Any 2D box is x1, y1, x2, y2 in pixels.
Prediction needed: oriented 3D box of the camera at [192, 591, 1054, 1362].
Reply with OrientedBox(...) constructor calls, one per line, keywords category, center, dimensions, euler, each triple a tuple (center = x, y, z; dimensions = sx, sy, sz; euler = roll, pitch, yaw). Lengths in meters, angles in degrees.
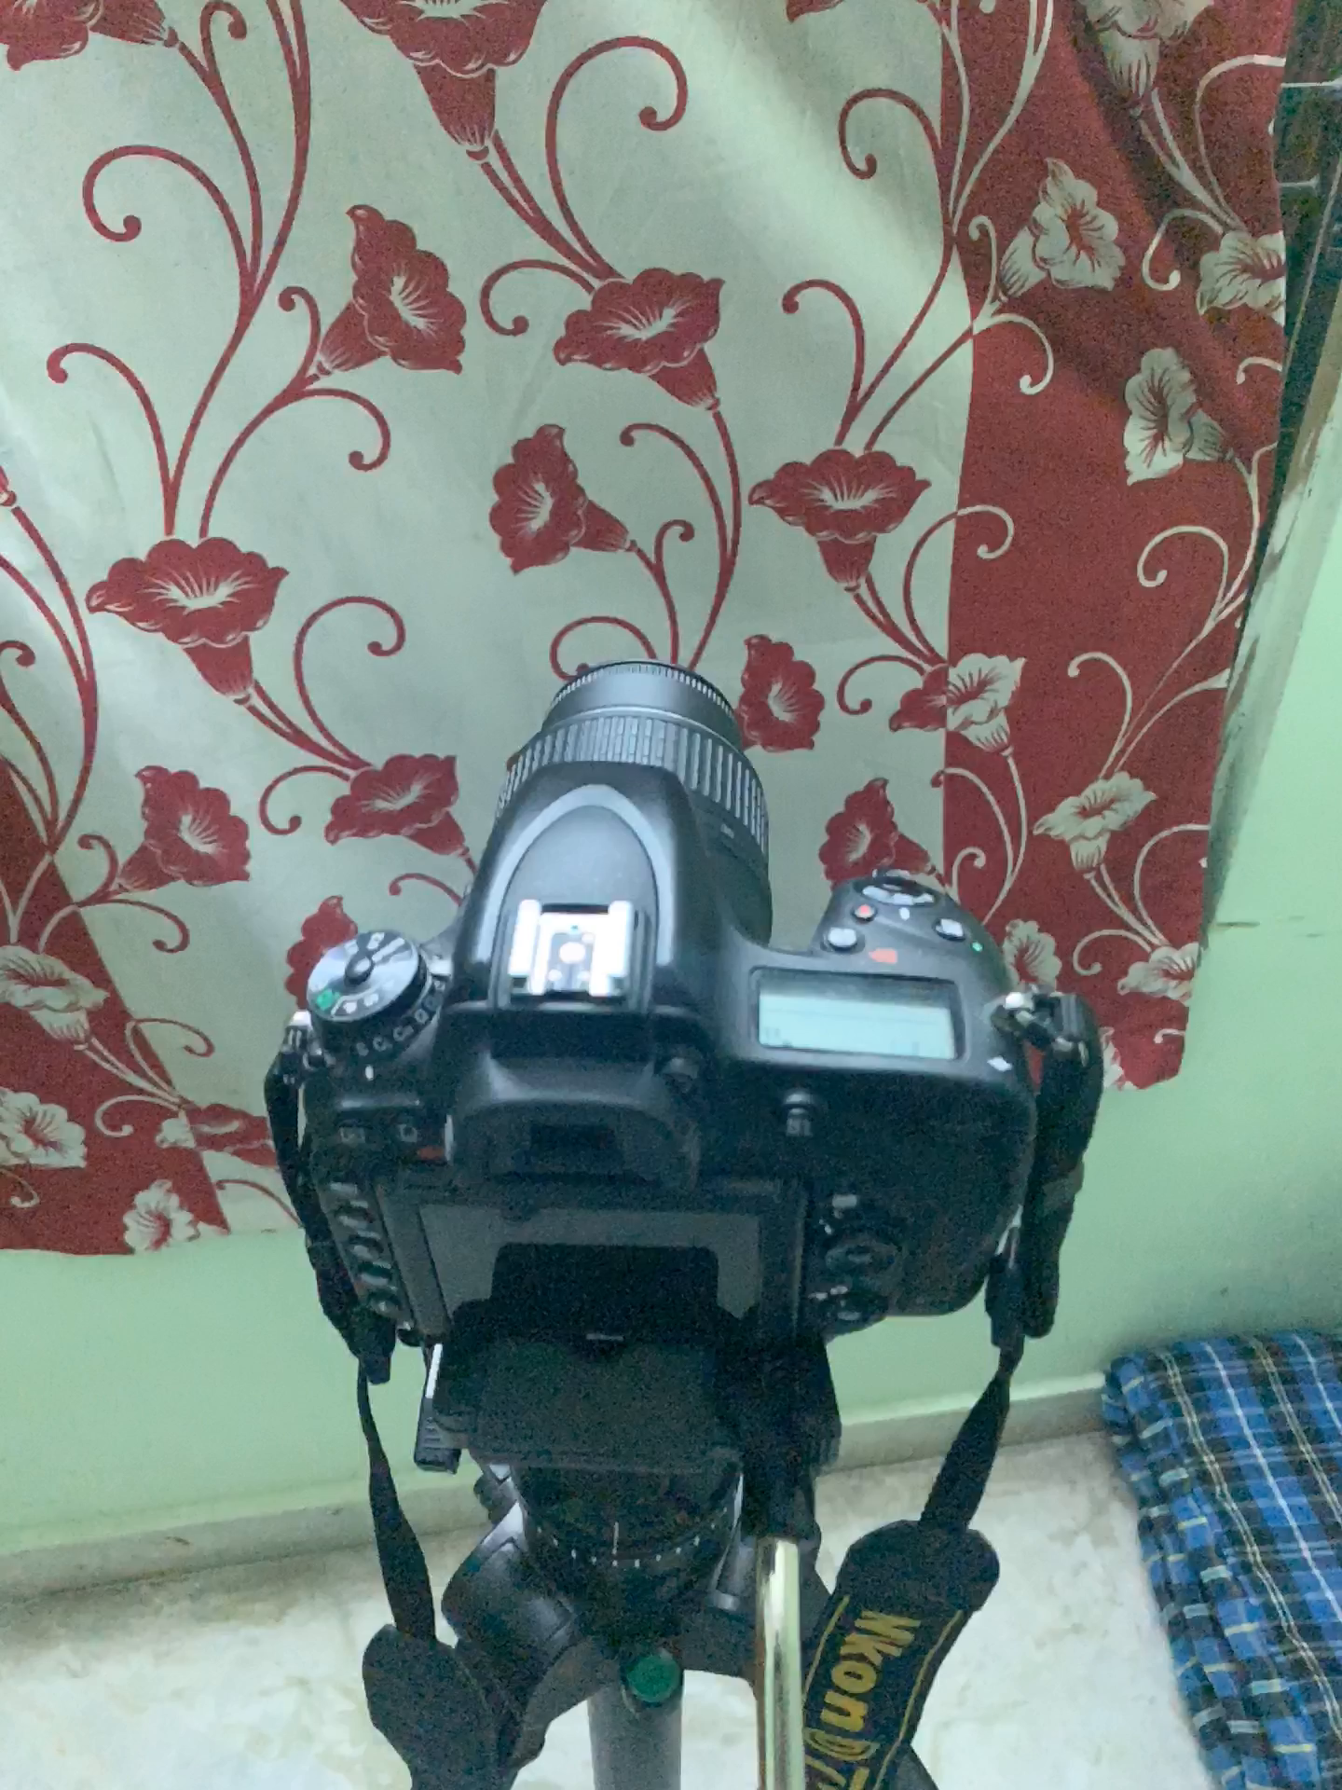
OrientedBox(category="camera", center=(-0.006, 0.013, 0.307), dimensions=(0.139, 0.112, 0.130), euler=(1, 38, 2))
